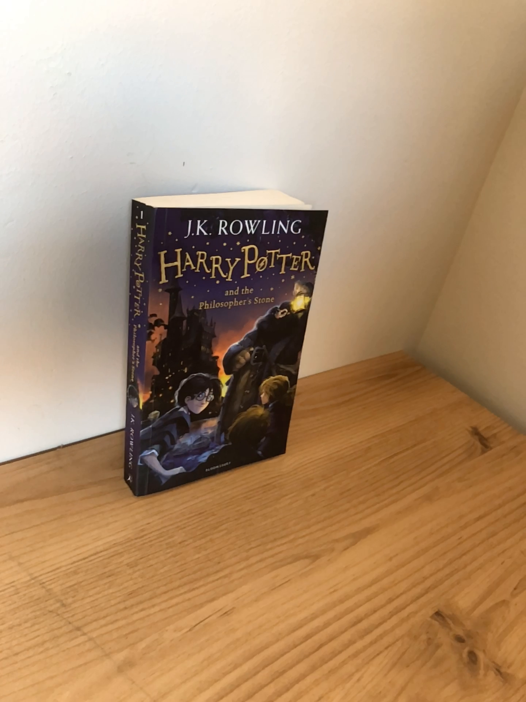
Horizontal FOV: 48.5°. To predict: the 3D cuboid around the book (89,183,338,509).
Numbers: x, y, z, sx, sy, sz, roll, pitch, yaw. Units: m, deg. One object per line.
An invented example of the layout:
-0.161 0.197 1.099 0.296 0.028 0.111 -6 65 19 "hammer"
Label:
-0.038 -0.008 0.405 0.135 0.192 0.068 -8 27 -37 "book"
